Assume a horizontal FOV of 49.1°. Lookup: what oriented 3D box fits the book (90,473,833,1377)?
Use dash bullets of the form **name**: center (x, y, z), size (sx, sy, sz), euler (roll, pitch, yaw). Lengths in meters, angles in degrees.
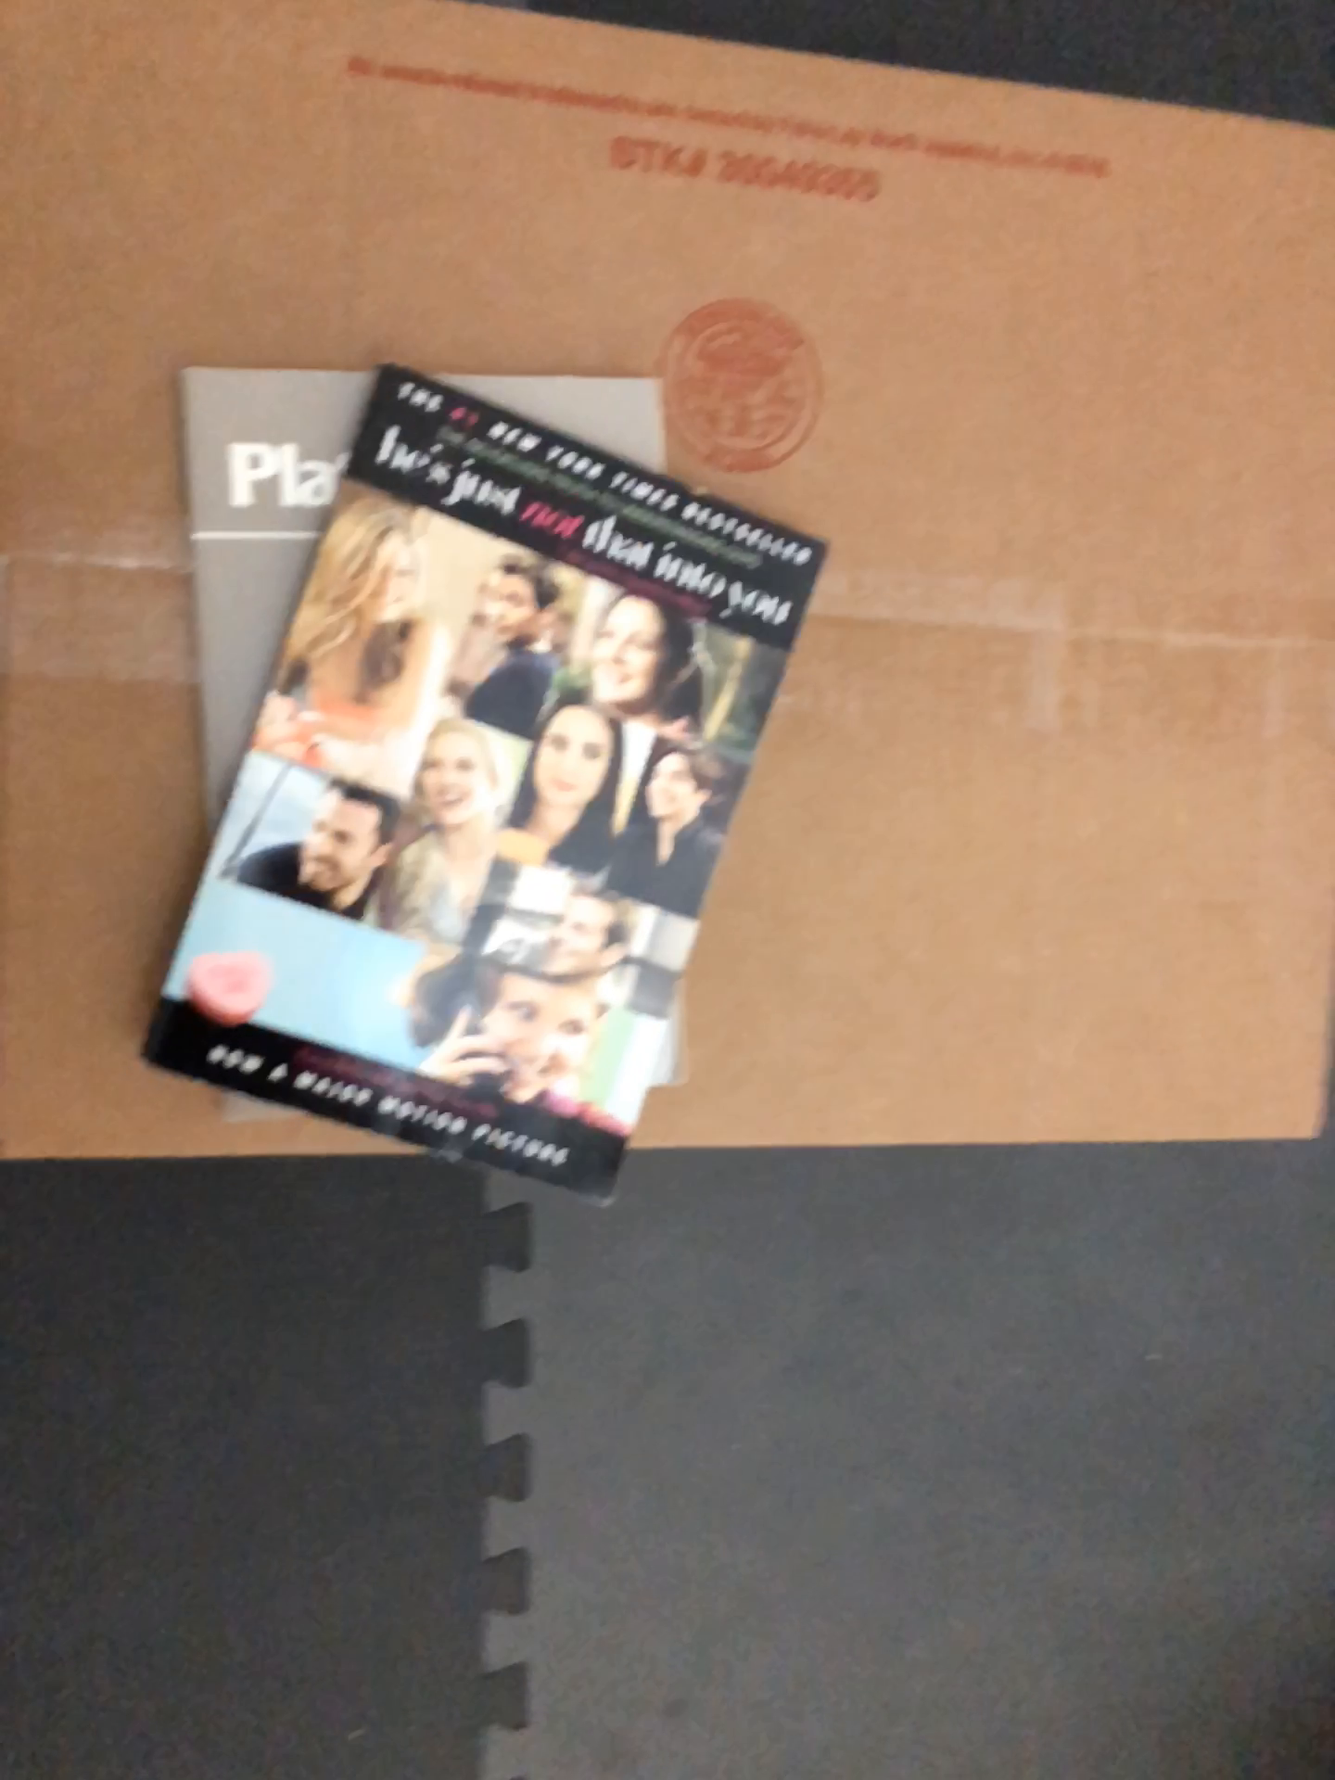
- **book**: center (-0.057, 0.015, 0.432), size (0.150, 0.010, 0.230), euler (19, 90, -13)
